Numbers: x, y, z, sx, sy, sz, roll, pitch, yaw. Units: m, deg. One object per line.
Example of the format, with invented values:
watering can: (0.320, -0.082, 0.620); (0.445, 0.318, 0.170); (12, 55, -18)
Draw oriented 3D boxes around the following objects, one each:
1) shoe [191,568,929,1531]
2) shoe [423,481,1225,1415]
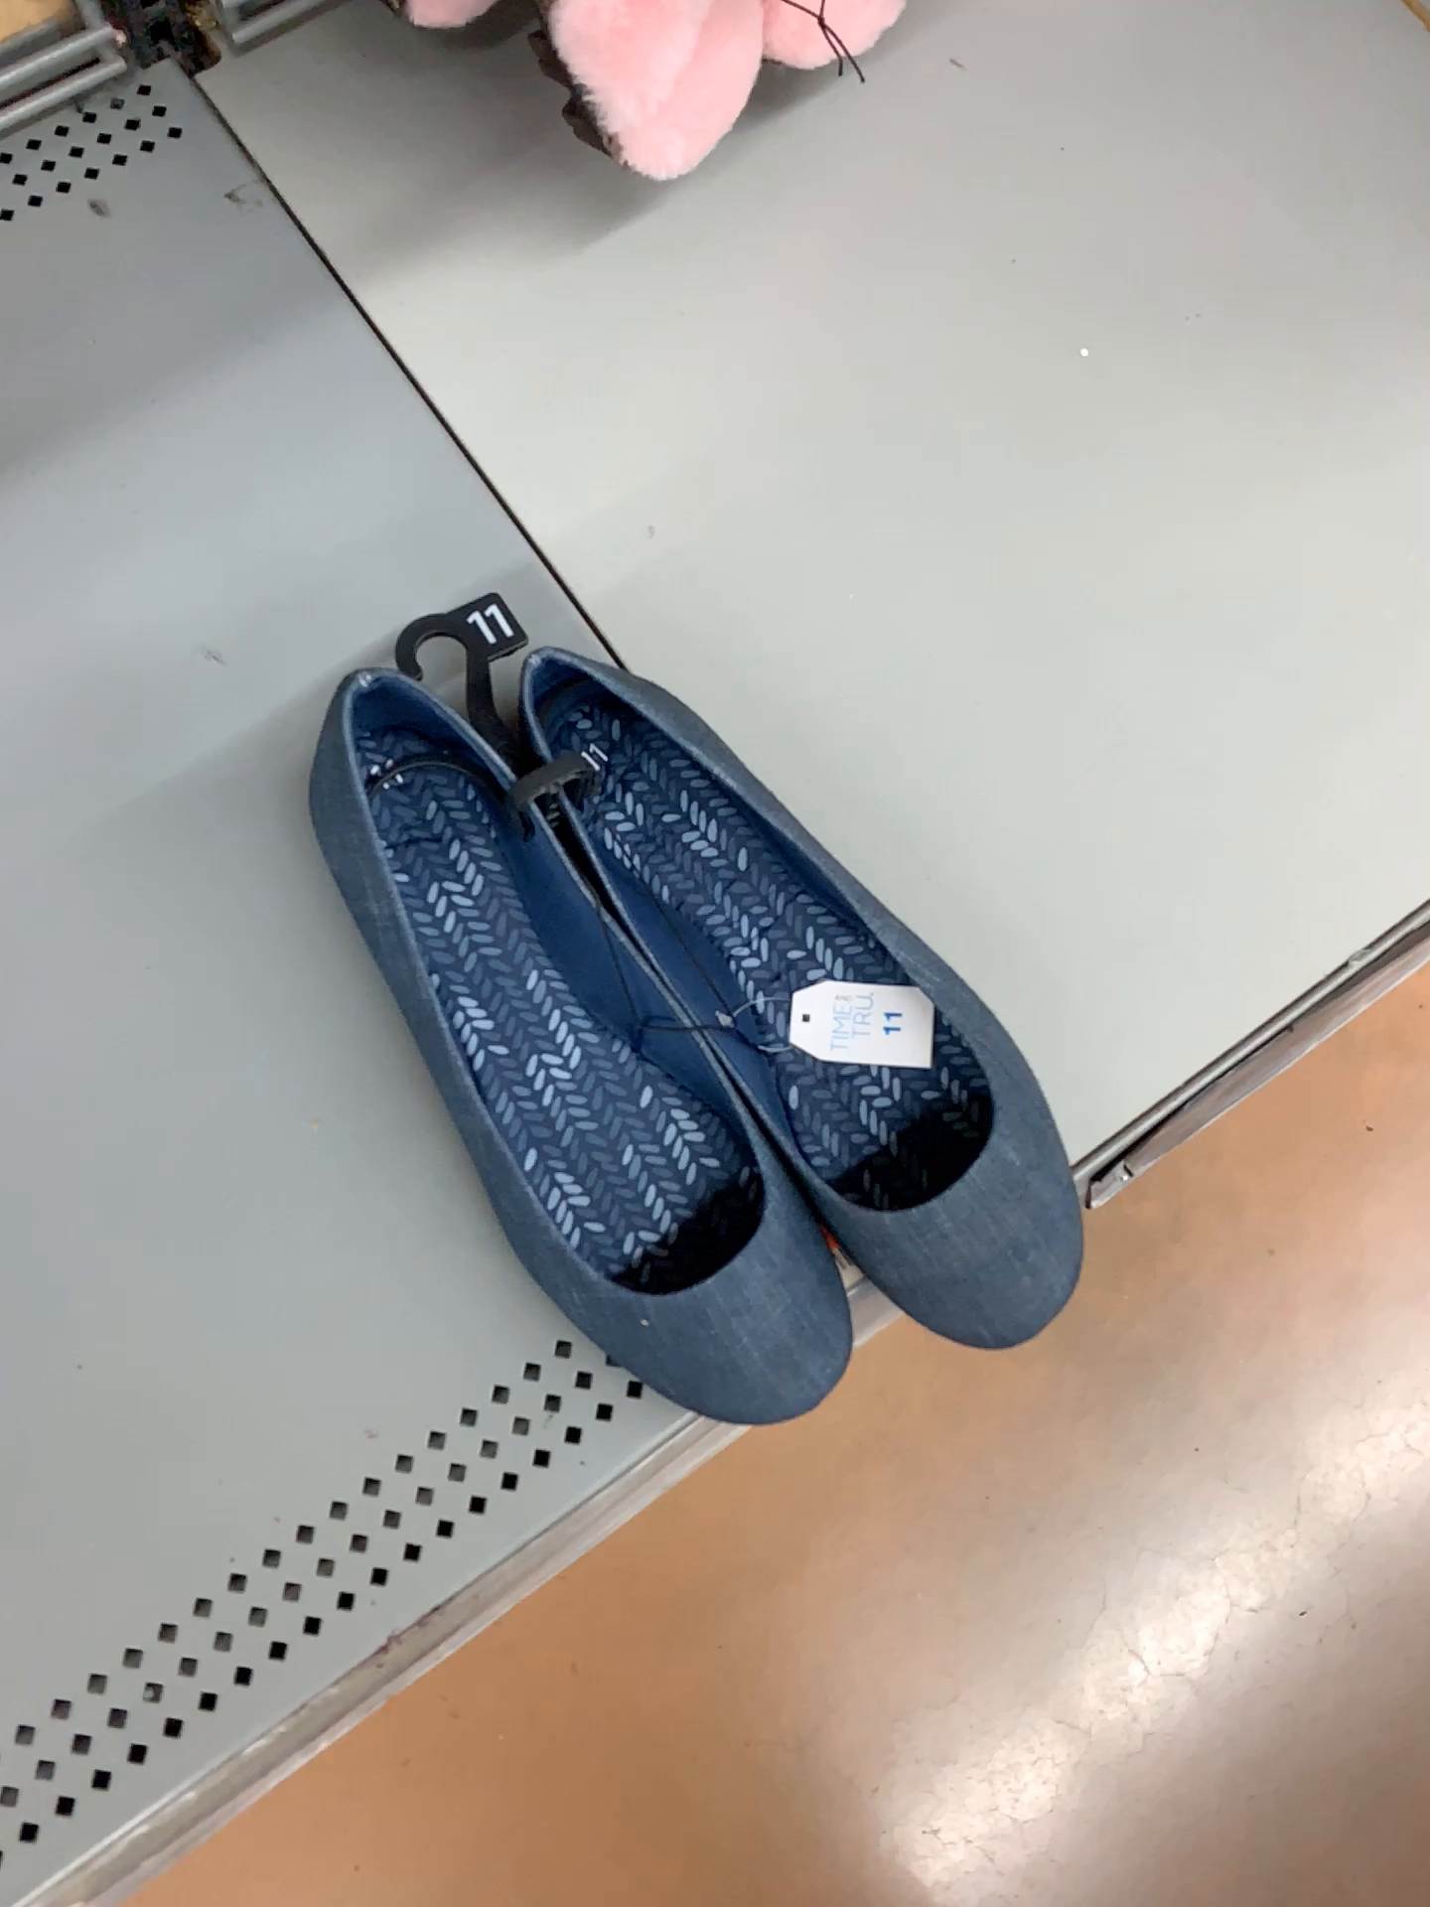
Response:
shoe: (-0.051, 0.028, 0.472); (0.090, 0.090, 0.280); (-31, 81, -6)
shoe: (0.029, -0.002, 0.473); (0.090, 0.090, 0.280); (-35, 81, -4)
